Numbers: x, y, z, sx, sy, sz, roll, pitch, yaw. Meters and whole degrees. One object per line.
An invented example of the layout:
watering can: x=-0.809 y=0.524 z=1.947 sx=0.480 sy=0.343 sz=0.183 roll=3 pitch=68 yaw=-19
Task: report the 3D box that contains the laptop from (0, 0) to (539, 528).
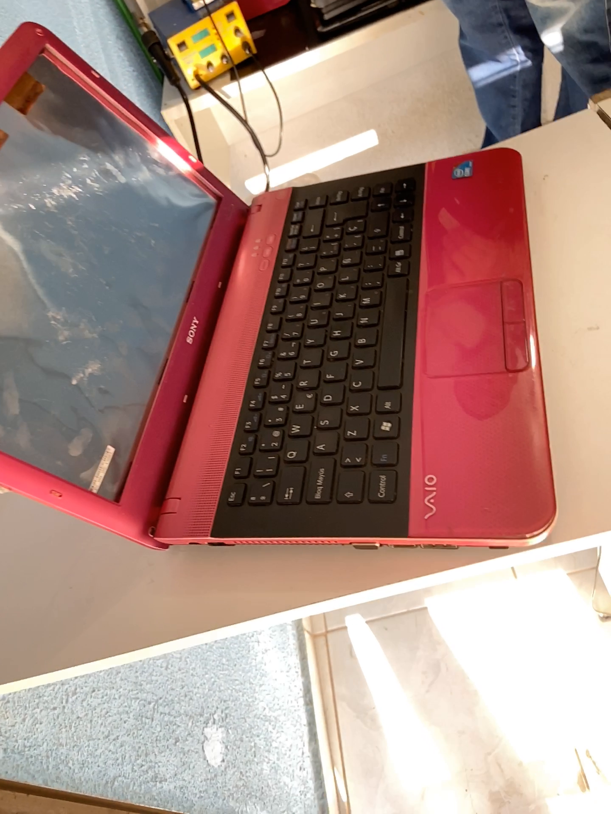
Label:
laptop: x=-0.050 y=-0.117 z=0.400 sx=0.339 sy=0.188 sz=0.332 roll=-4 pitch=53 yaw=20
